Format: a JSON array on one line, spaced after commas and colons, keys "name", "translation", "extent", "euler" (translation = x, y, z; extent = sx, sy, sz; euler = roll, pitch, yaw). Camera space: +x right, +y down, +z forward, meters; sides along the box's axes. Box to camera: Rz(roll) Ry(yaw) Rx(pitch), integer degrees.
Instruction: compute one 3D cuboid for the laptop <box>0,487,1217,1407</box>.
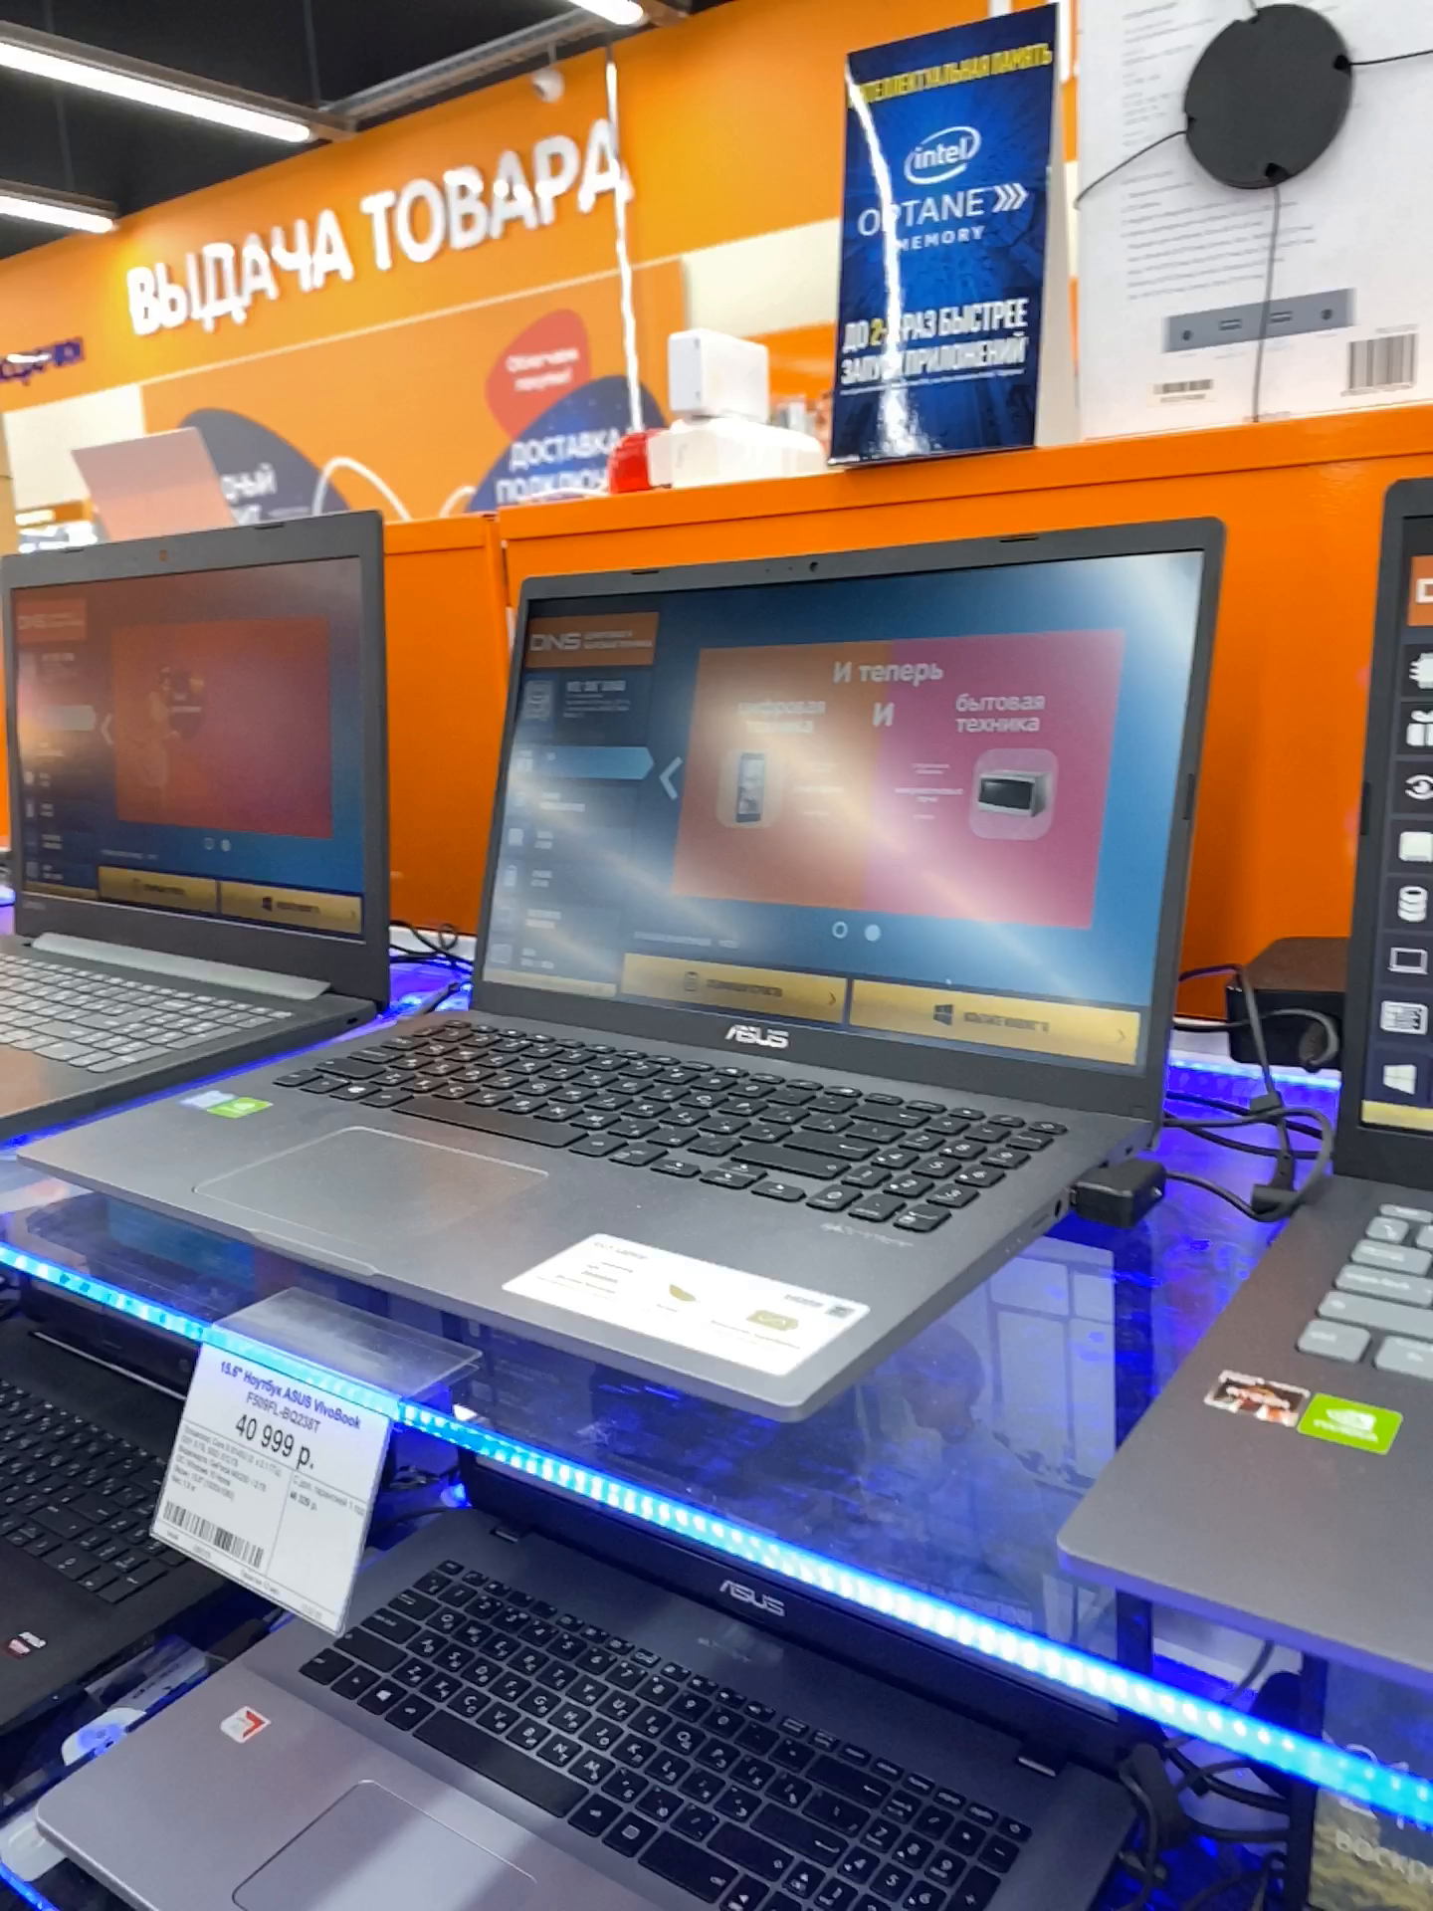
[{"name": "laptop", "translation": [-0.044, -0.044, 0.554], "extent": [0.358, 0.211, 0.306], "euler": [6, 15, 36]}]
